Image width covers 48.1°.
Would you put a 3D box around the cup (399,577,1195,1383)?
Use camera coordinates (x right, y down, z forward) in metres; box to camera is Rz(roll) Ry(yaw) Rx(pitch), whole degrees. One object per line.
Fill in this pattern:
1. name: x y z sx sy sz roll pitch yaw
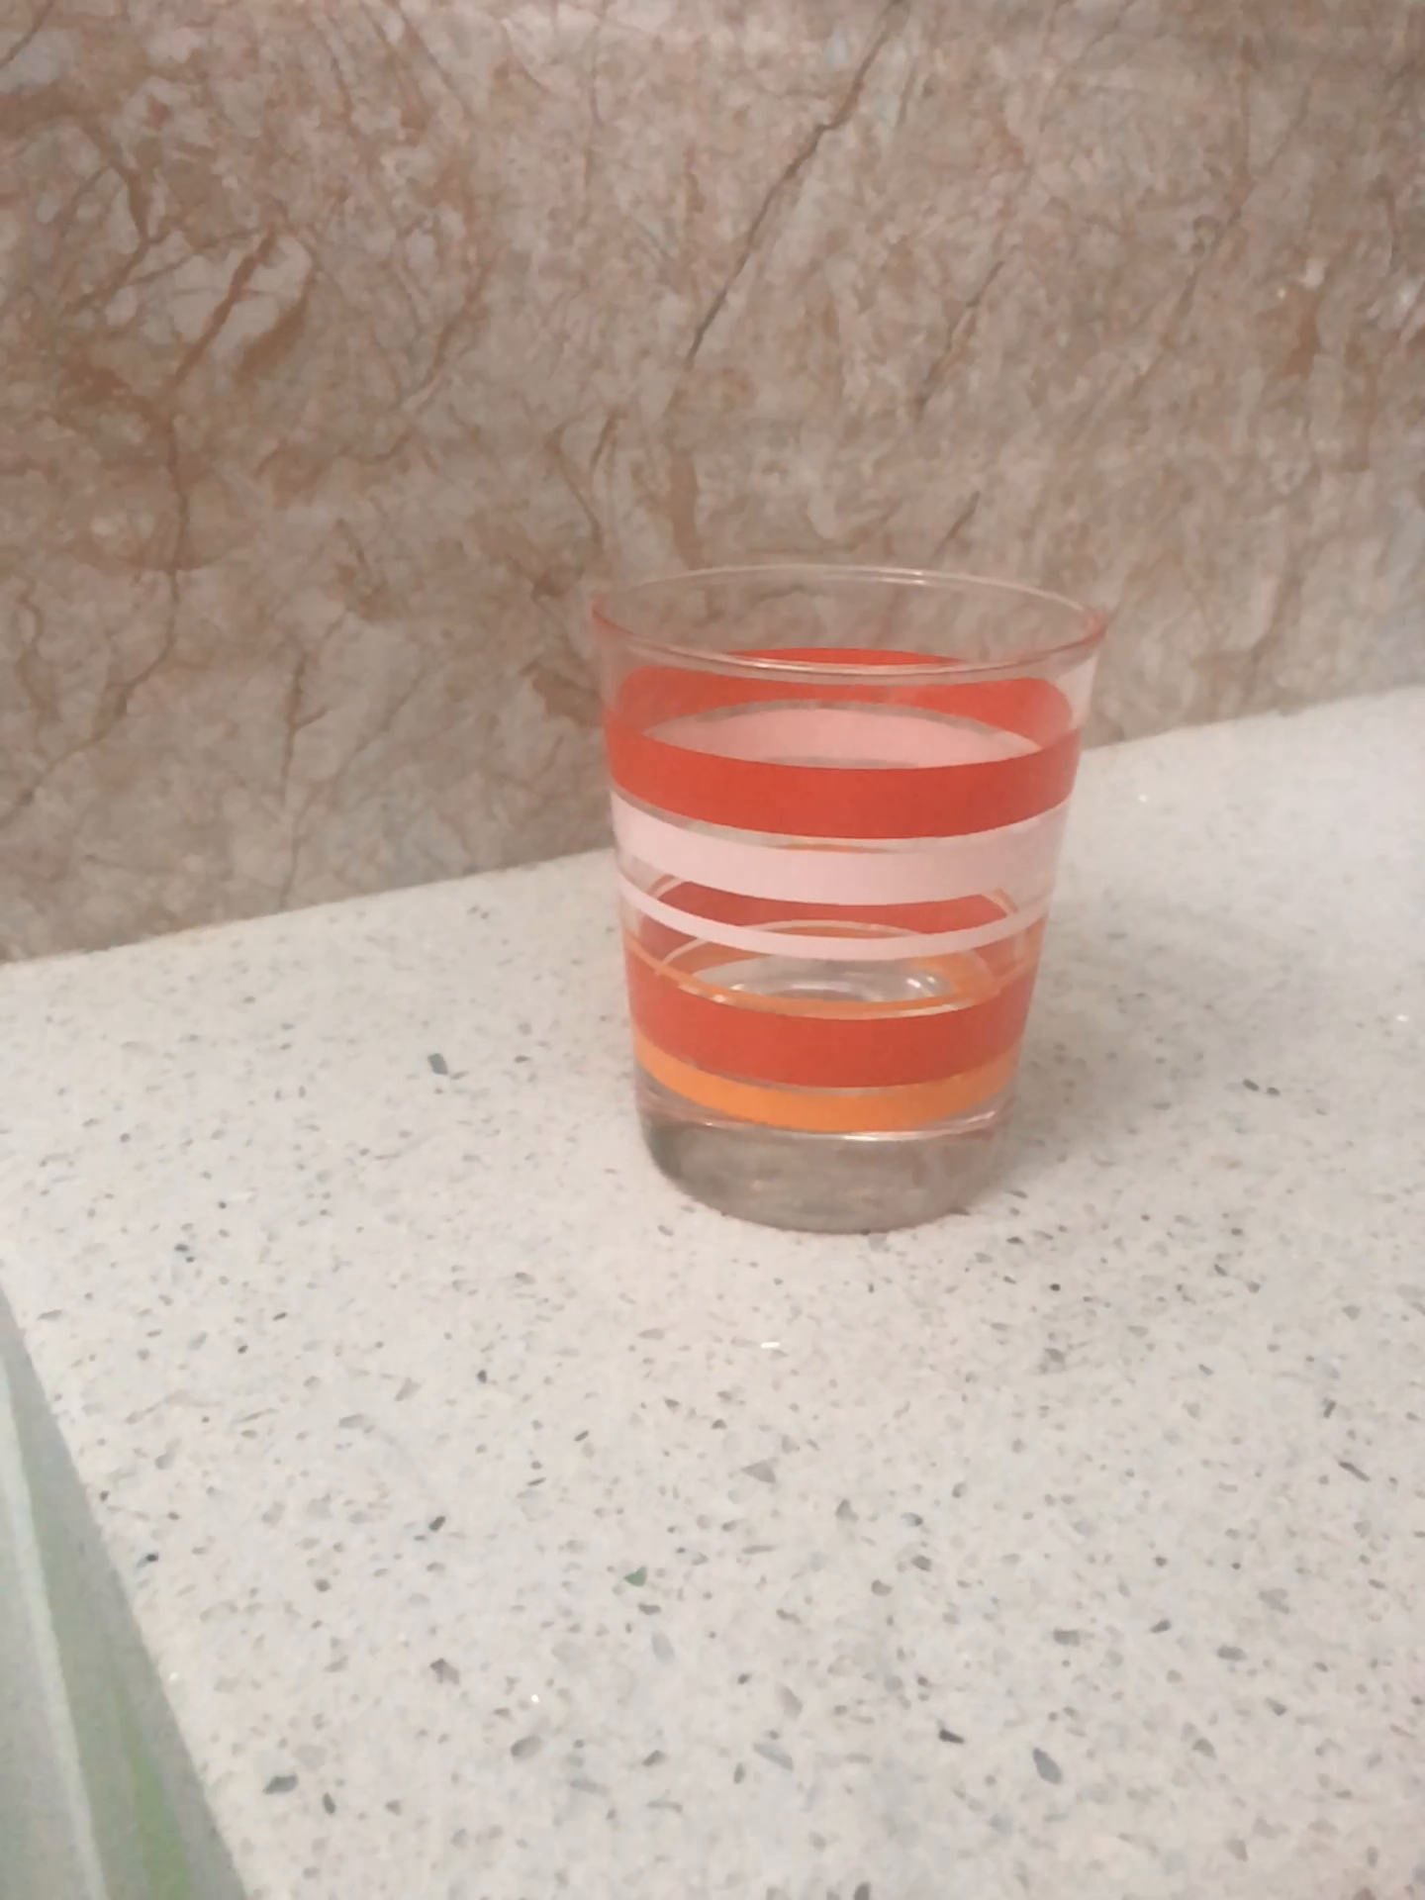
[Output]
1. cup: 0.012 -0.005 0.258 0.090 0.090 0.080 -18 29 -38
